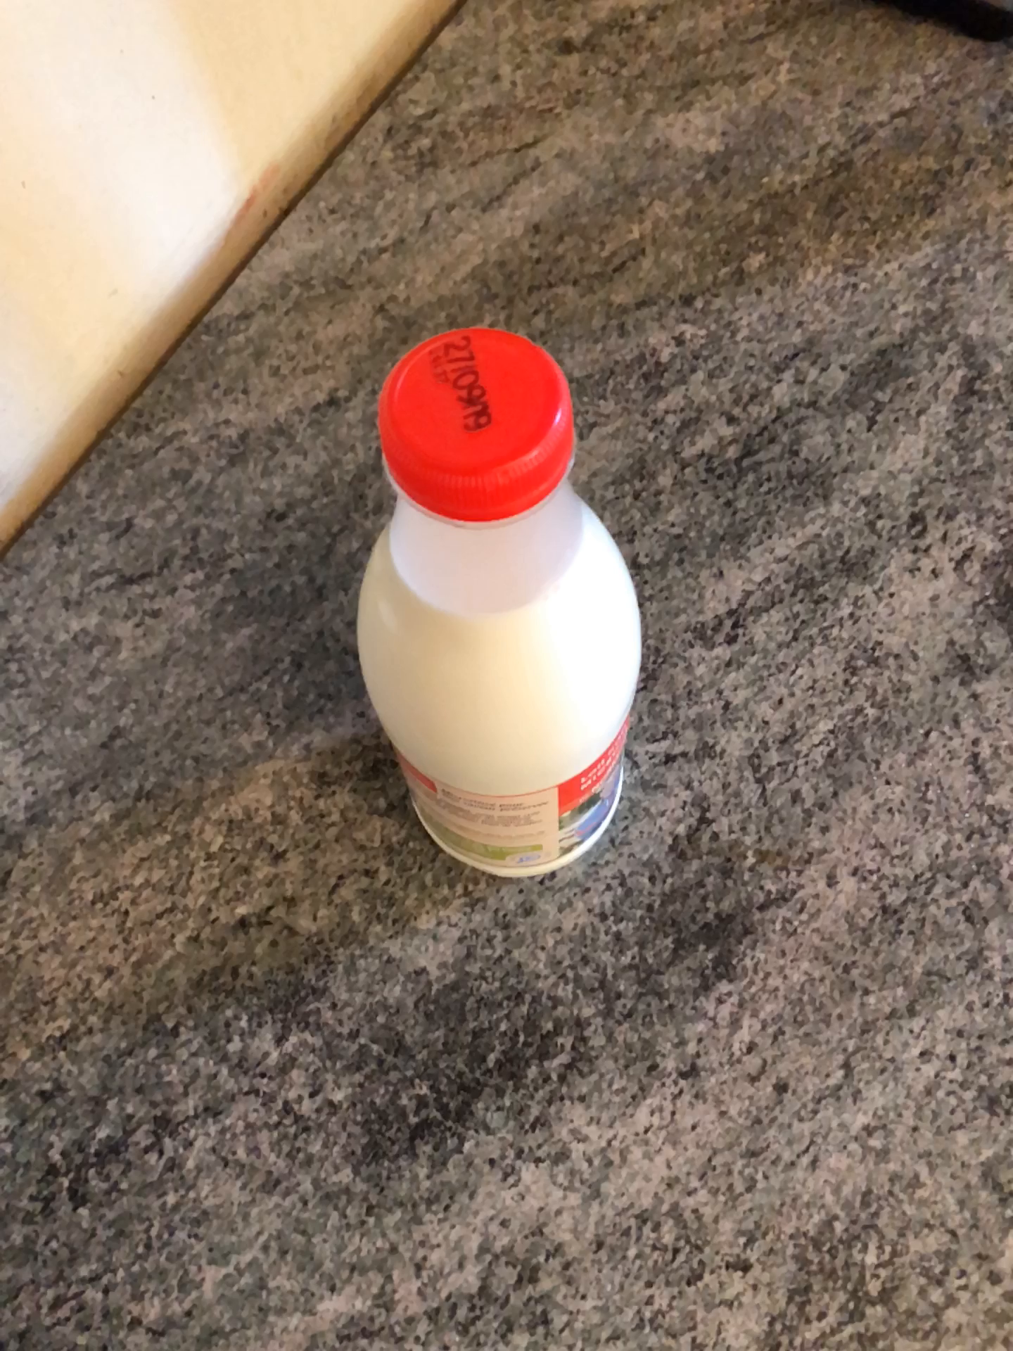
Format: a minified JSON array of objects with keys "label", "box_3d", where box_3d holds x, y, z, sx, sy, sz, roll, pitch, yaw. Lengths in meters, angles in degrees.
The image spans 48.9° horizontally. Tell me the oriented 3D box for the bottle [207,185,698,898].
[{"label":"bottle","box_3d":[-0.001,-0.012,0.343,0.080,0.249,0.090,12,67,9]}]
